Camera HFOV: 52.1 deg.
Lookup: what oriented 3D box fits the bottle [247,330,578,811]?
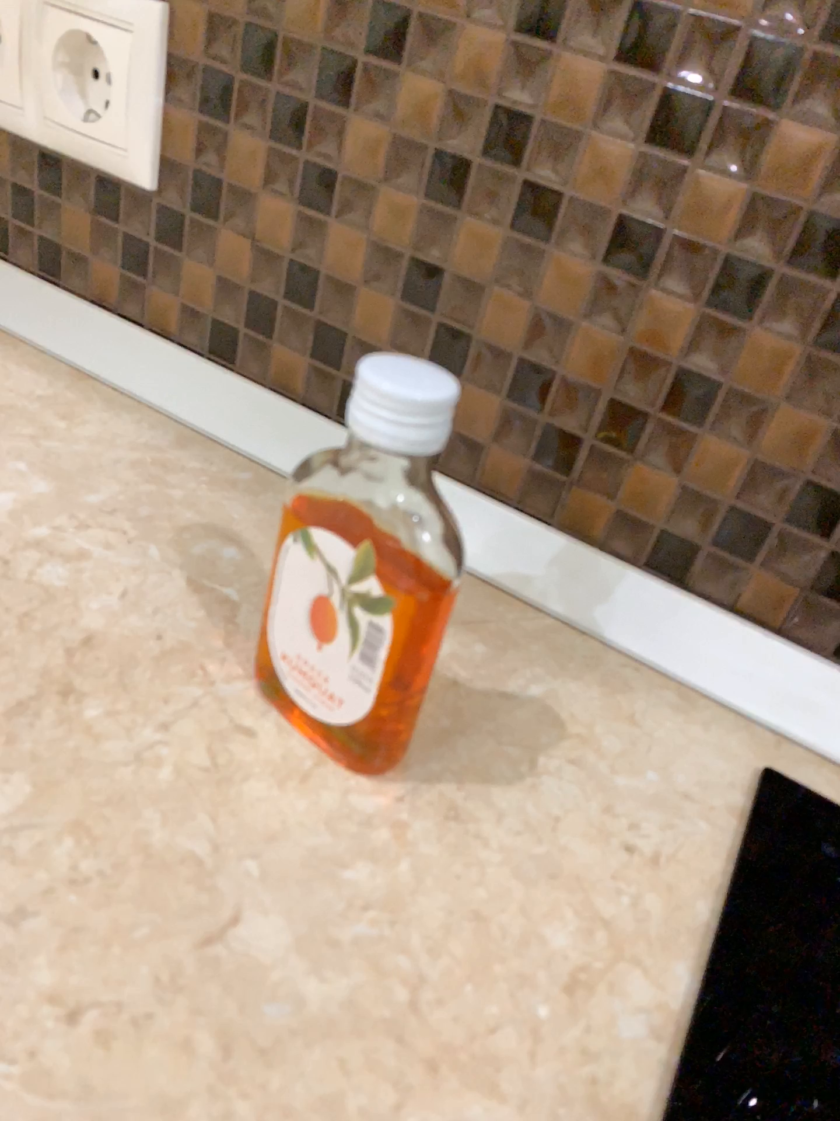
[{"bbox_3d":[-0.010,0.004,0.279,0.070,0.133,0.040,35,36,28],"label":"bottle"}]
